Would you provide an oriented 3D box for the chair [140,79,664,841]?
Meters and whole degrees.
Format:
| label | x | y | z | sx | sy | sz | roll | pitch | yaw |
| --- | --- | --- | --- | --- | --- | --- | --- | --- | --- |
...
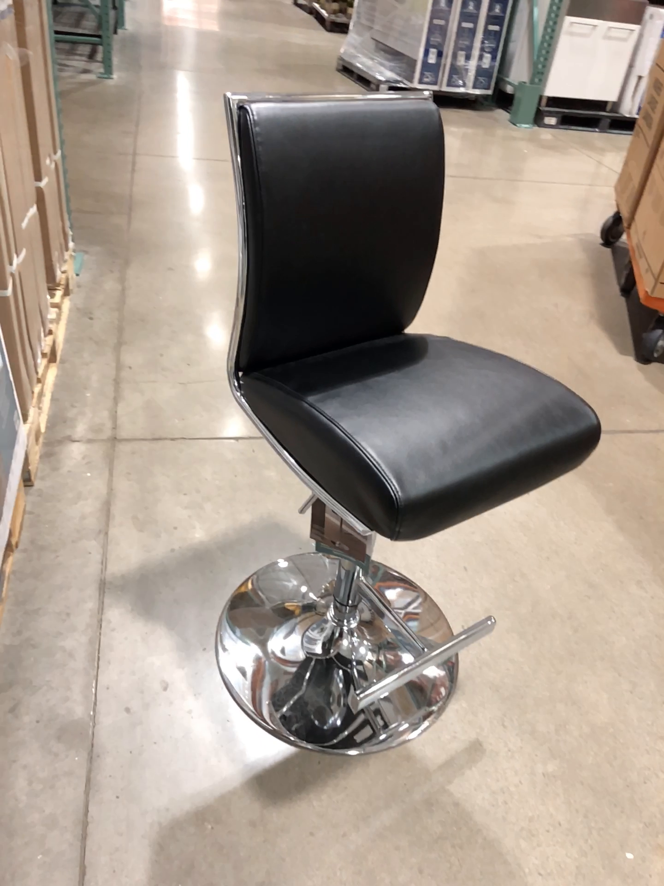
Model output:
| label | x | y | z | sx | sy | sz | roll | pitch | yaw |
| --- | --- | --- | --- | --- | --- | --- | --- | --- | --- |
| chair | 0.080 | 0.003 | 1.154 | 0.531 | 0.946 | 0.541 | -20 | 44 | -36 |
